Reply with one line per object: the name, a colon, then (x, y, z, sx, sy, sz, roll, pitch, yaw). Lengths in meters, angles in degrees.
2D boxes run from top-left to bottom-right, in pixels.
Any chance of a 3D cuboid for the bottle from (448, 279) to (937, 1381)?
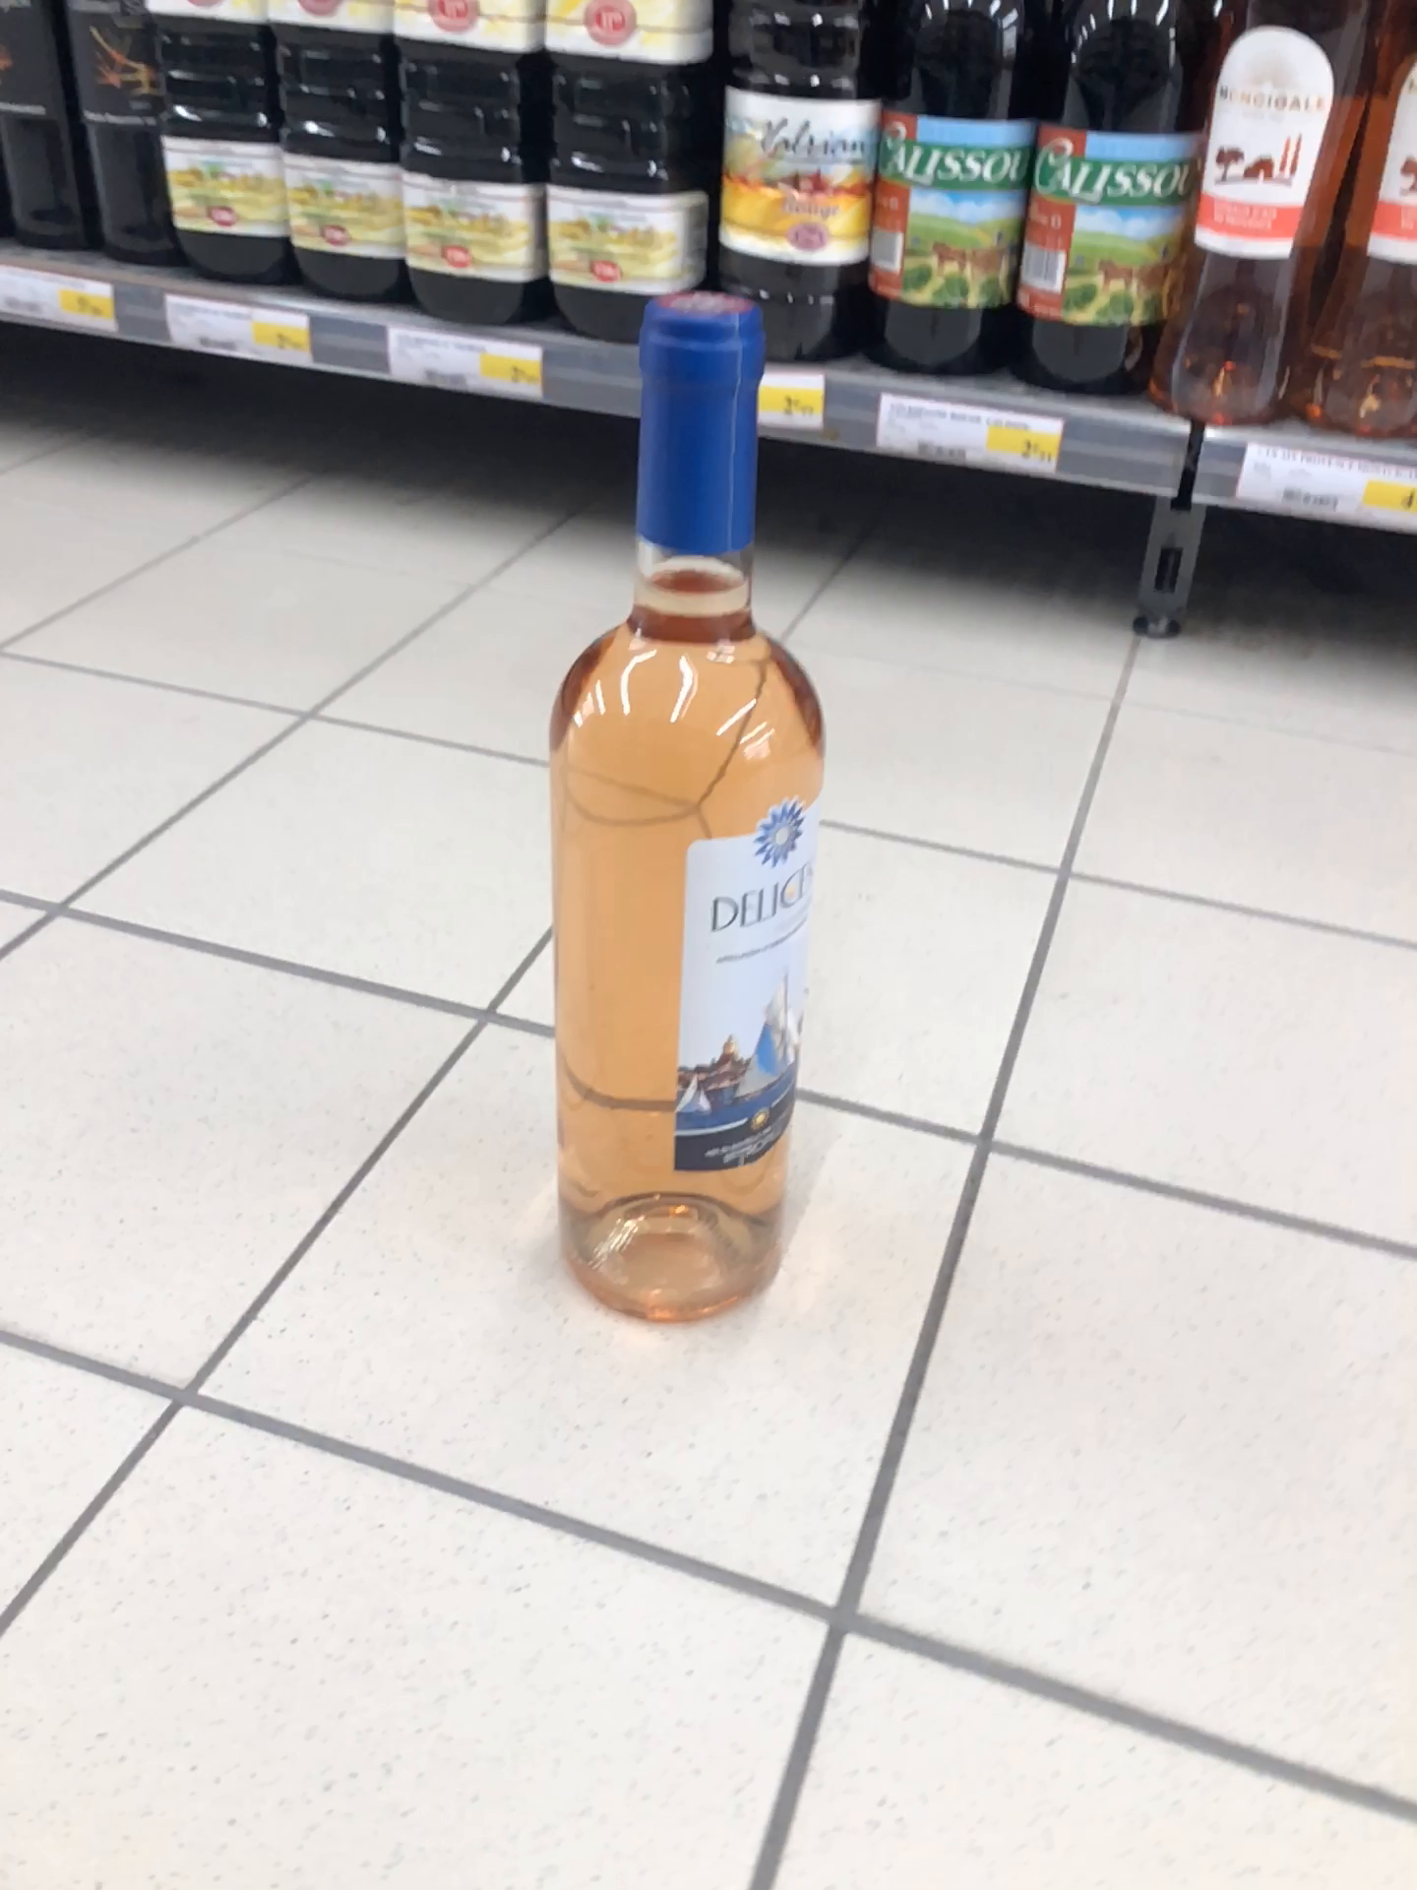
bottle: (-0.010, -0.021, 0.436, 0.080, 0.288, 0.080, 2, 33, -1)
